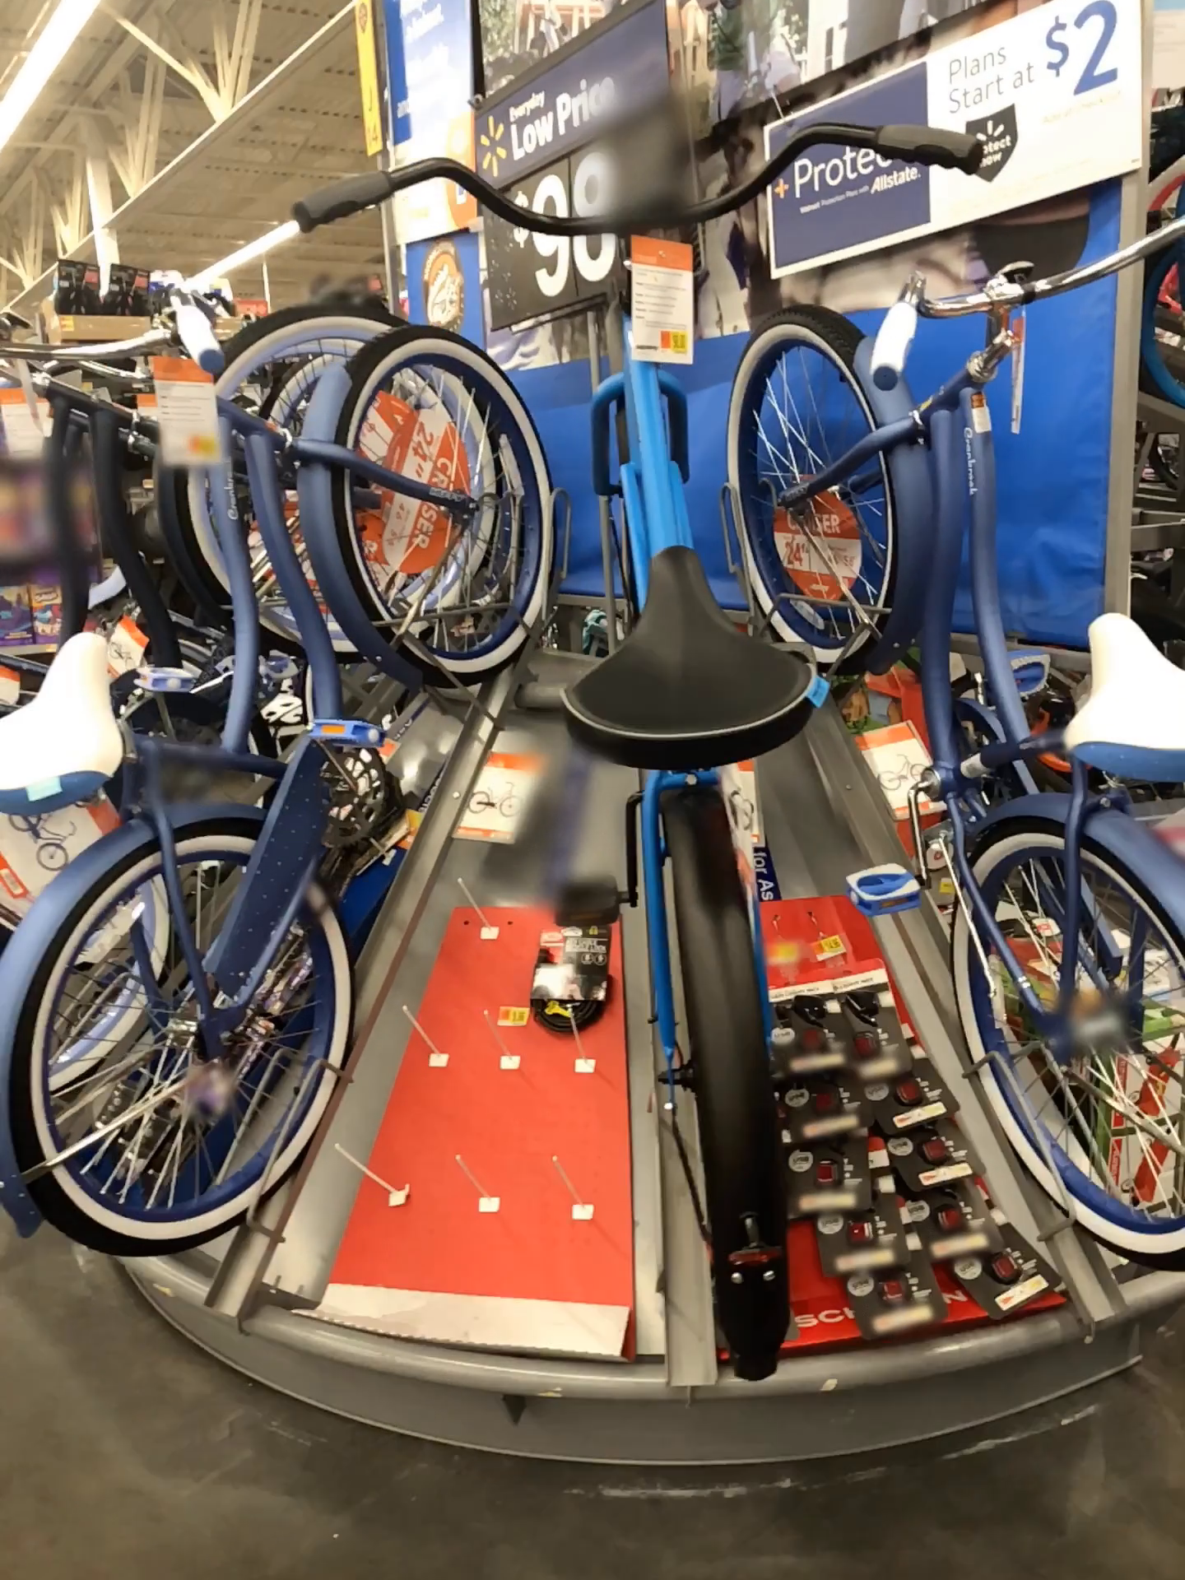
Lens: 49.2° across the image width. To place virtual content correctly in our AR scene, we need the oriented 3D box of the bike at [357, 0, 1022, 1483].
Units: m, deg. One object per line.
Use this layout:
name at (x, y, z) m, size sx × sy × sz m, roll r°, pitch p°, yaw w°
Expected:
bike at (0.040, -0.598, 1.597) m, size 0.504 × 1.119 × 1.568 m, roll -3°, pitch 40°, yaw -3°
